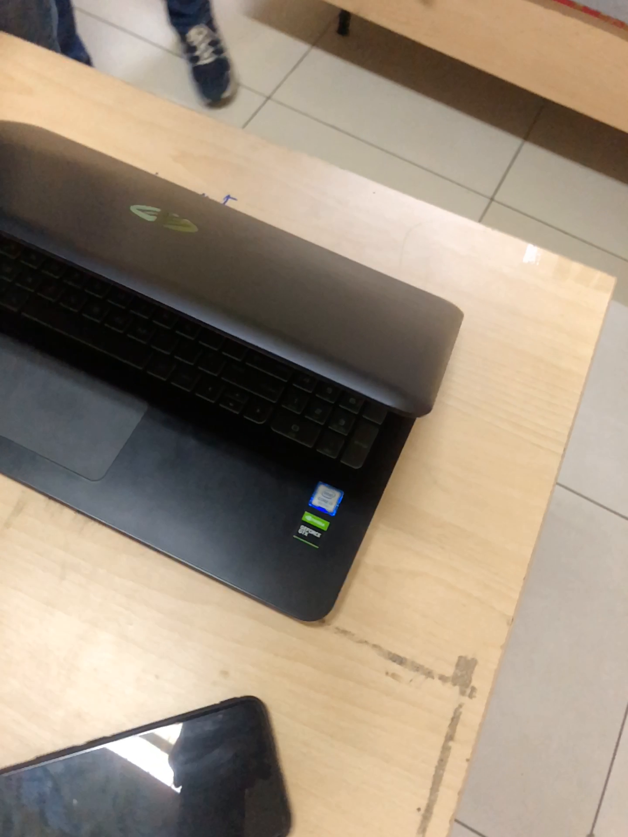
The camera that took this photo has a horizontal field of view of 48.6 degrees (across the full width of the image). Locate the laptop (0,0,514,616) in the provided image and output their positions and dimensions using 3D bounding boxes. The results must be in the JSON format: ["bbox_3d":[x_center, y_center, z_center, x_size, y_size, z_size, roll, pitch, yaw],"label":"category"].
[{"bbox_3d":[-0.112,-0.085,0.414,0.359,0.167,0.231,24,64,7],"label":"laptop"}]
